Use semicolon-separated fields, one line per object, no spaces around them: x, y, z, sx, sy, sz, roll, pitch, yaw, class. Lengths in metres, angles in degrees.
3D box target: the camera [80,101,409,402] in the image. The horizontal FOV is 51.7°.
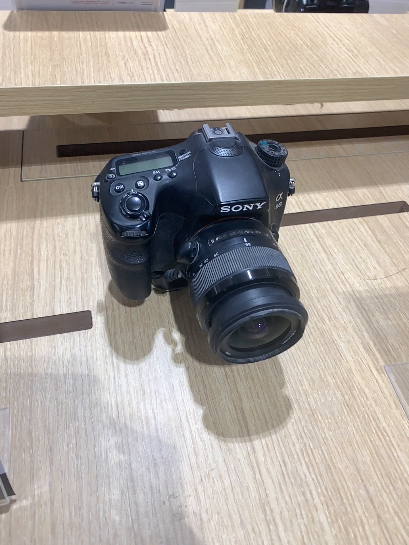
0.009;-0.023;0.274;0.150;0.100;0.150;-8;52;-14;camera
